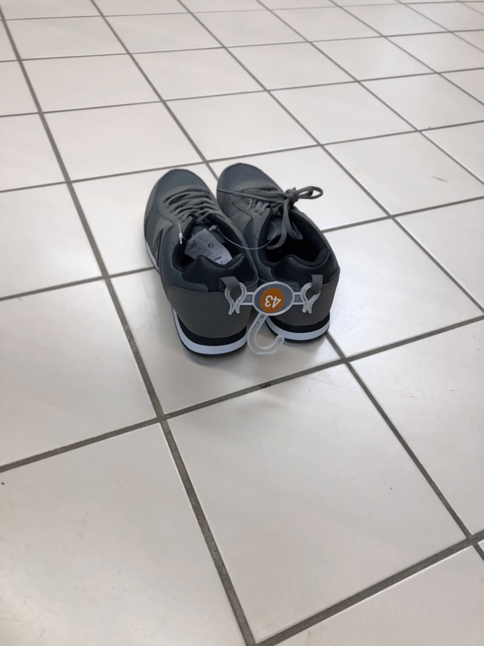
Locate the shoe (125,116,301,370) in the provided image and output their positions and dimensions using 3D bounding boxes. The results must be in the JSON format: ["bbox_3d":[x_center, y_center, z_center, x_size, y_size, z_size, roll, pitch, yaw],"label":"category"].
[{"bbox_3d":[-0.046,-0.102,0.571,0.100,0.099,0.291,-10,49,-16],"label":"shoe"}]

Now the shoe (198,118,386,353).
[{"bbox_3d":[0.038,-0.116,0.613,0.100,0.099,0.291,-10,49,-16],"label":"shoe"}]
